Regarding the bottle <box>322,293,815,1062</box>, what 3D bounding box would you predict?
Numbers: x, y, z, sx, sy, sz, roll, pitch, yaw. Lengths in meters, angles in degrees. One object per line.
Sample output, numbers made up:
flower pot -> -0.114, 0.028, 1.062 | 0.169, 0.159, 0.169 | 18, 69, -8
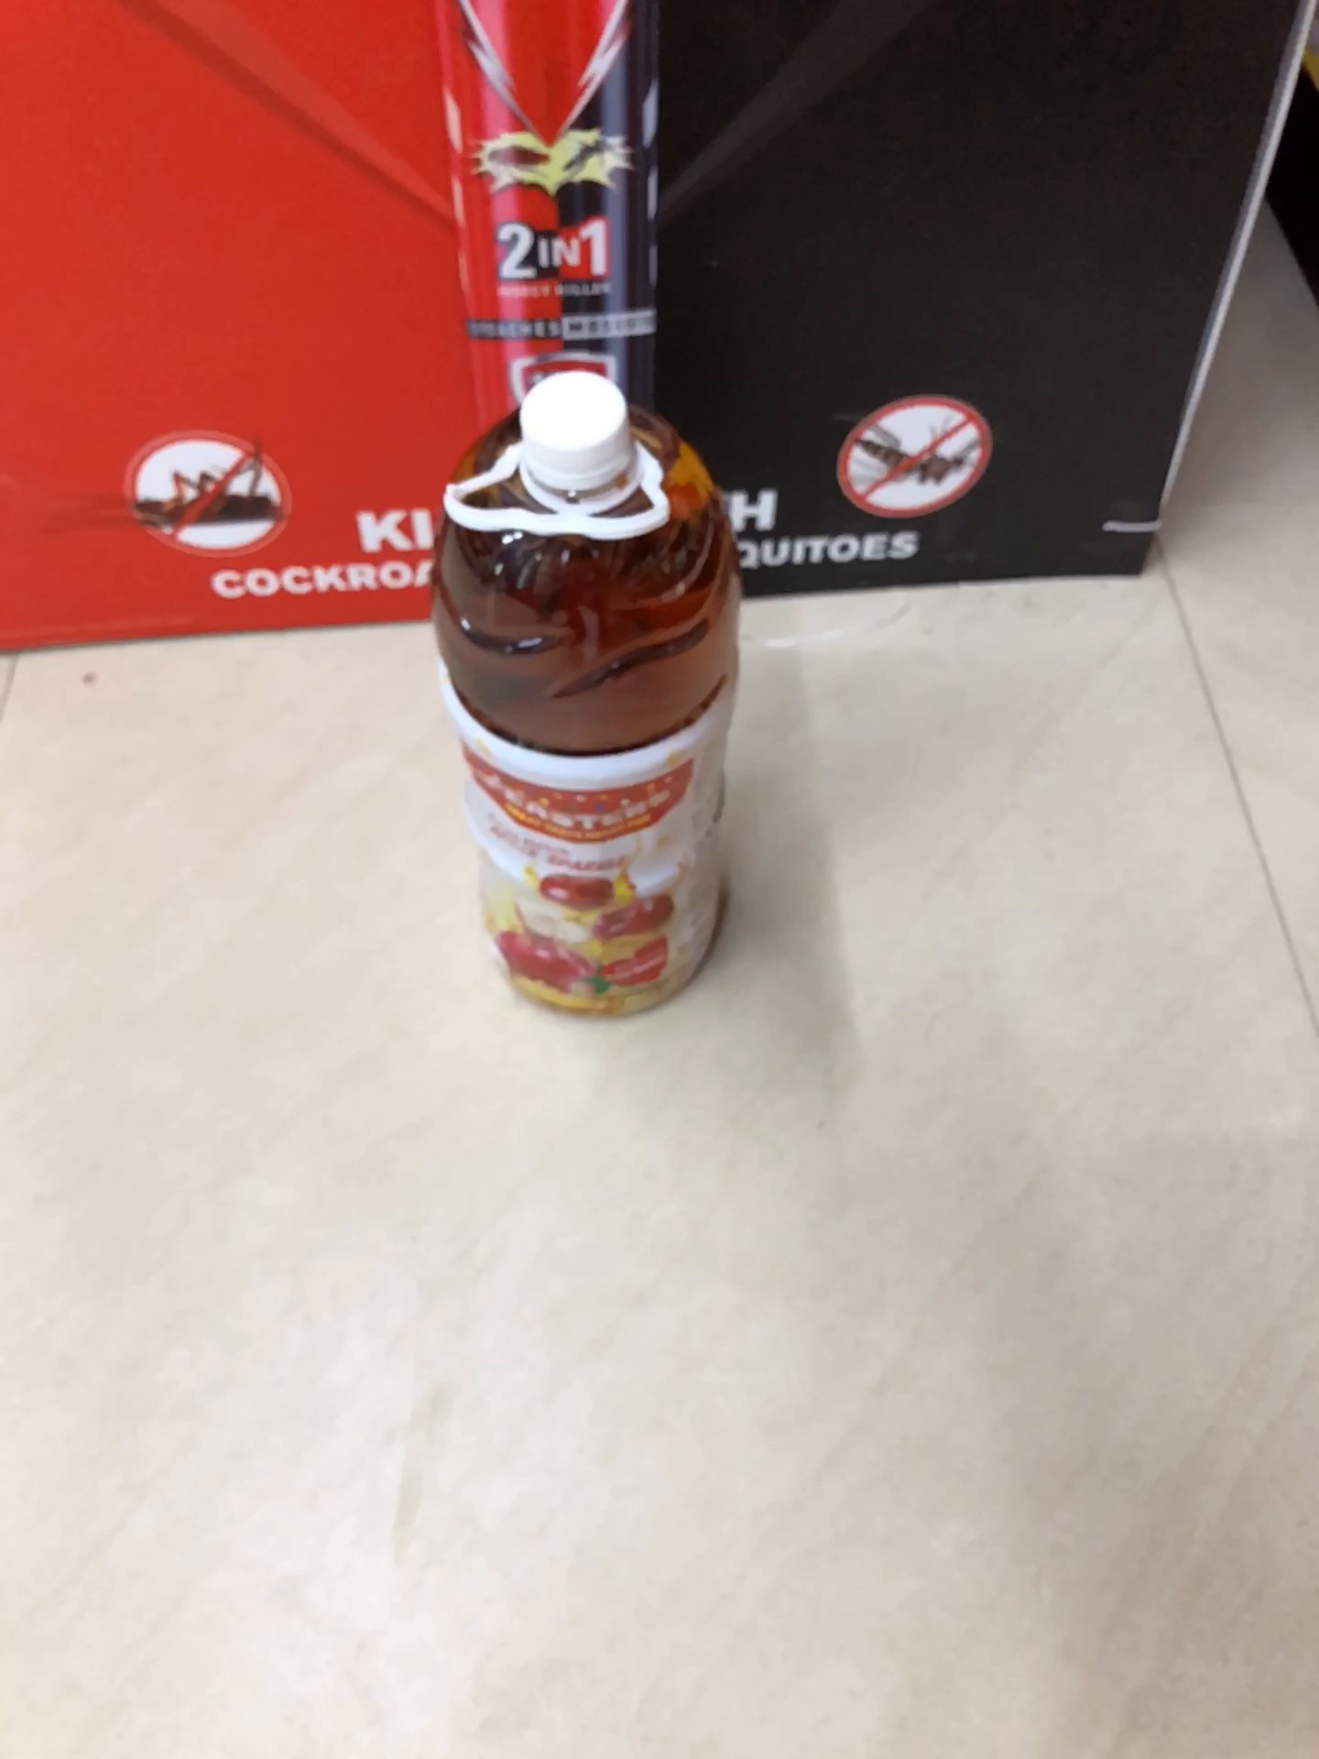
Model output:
bottle -> -0.022, -0.050, 0.526 | 0.120, 0.279, 0.101 | 8, 57, 5
